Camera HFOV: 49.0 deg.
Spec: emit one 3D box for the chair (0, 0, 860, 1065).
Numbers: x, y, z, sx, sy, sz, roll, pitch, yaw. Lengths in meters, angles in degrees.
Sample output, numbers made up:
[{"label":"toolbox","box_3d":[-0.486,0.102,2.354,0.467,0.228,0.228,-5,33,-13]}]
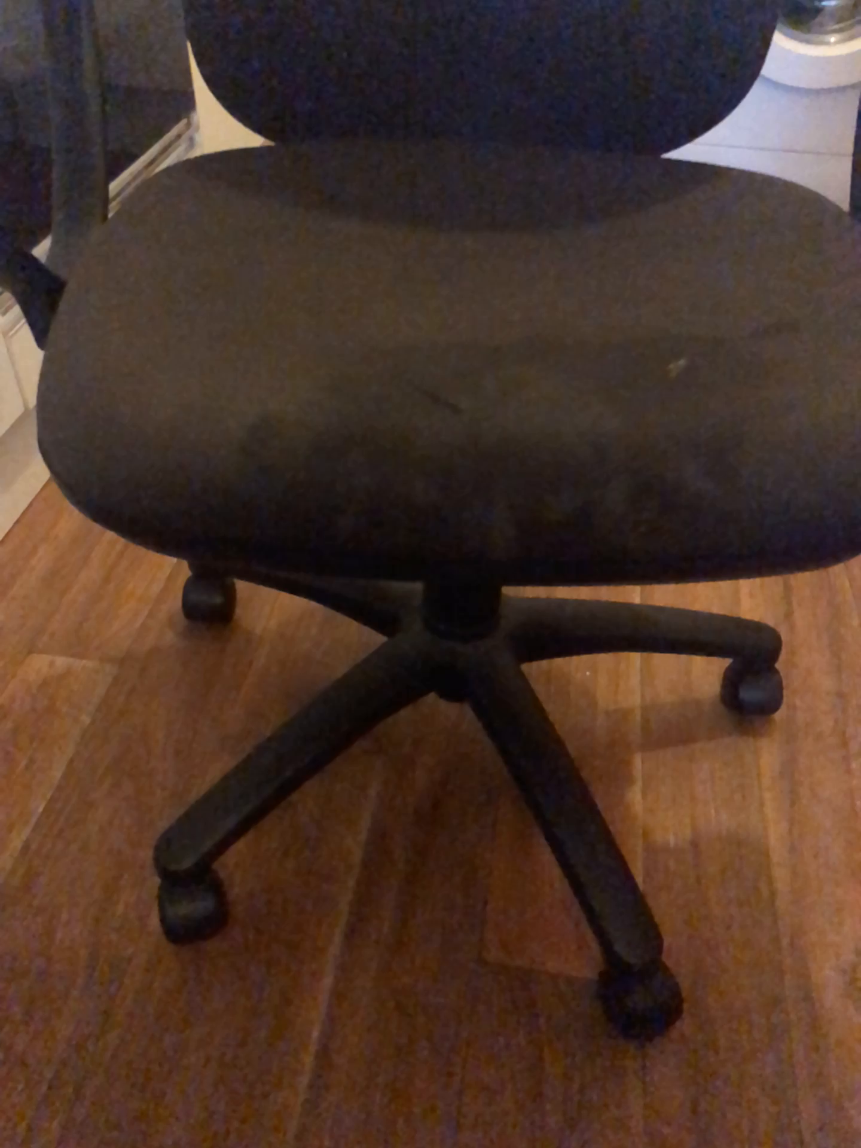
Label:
[{"label":"chair","box_3d":[0.039,-0.256,0.720,0.685,0.755,0.880,2,42,0]}]
